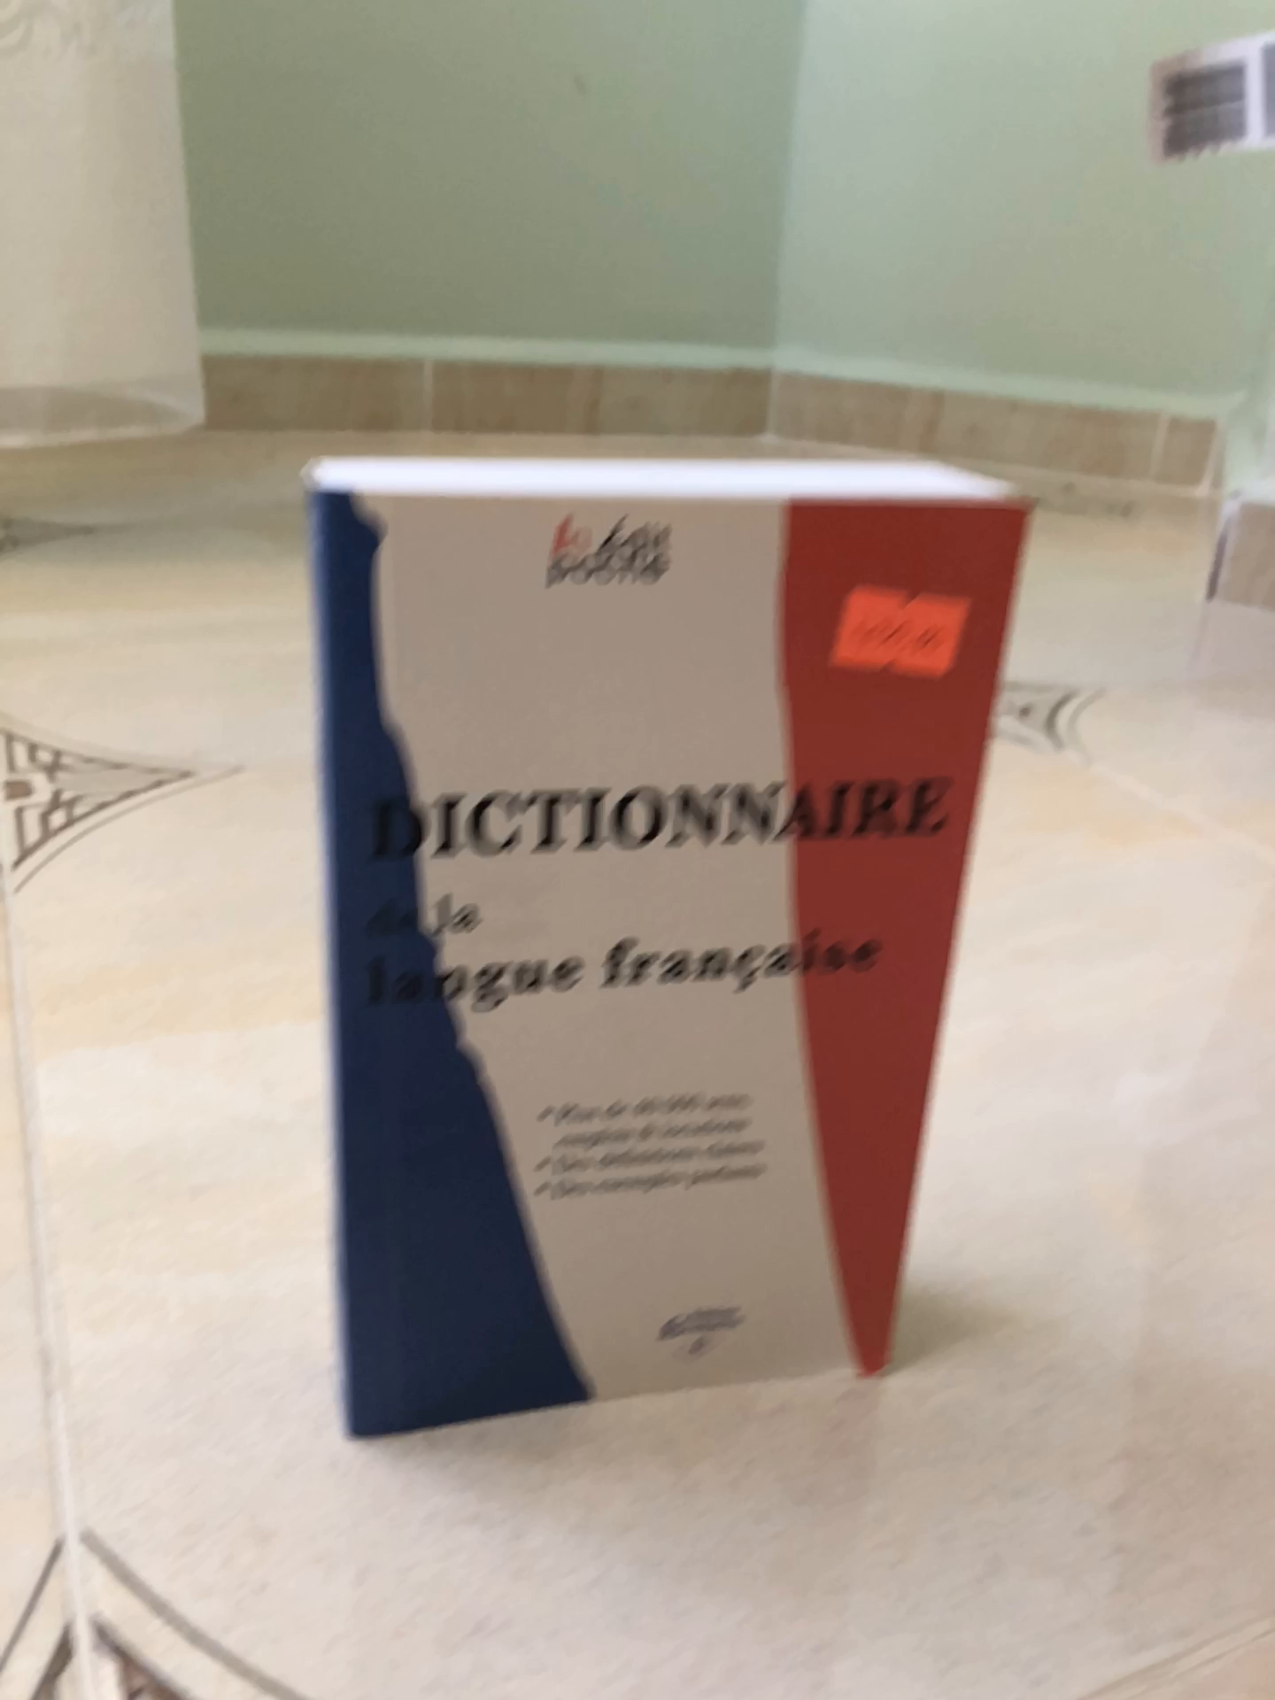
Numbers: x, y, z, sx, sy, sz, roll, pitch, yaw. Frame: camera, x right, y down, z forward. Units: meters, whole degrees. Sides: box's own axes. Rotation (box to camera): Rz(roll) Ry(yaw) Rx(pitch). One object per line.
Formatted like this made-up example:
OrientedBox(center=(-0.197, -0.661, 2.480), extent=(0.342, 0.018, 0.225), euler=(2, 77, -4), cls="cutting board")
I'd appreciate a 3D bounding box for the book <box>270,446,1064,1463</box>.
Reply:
OrientedBox(center=(-0.001, 0.024, 0.260), extent=(0.121, 0.182, 0.034), euler=(-2, 24, -13), cls="book")
